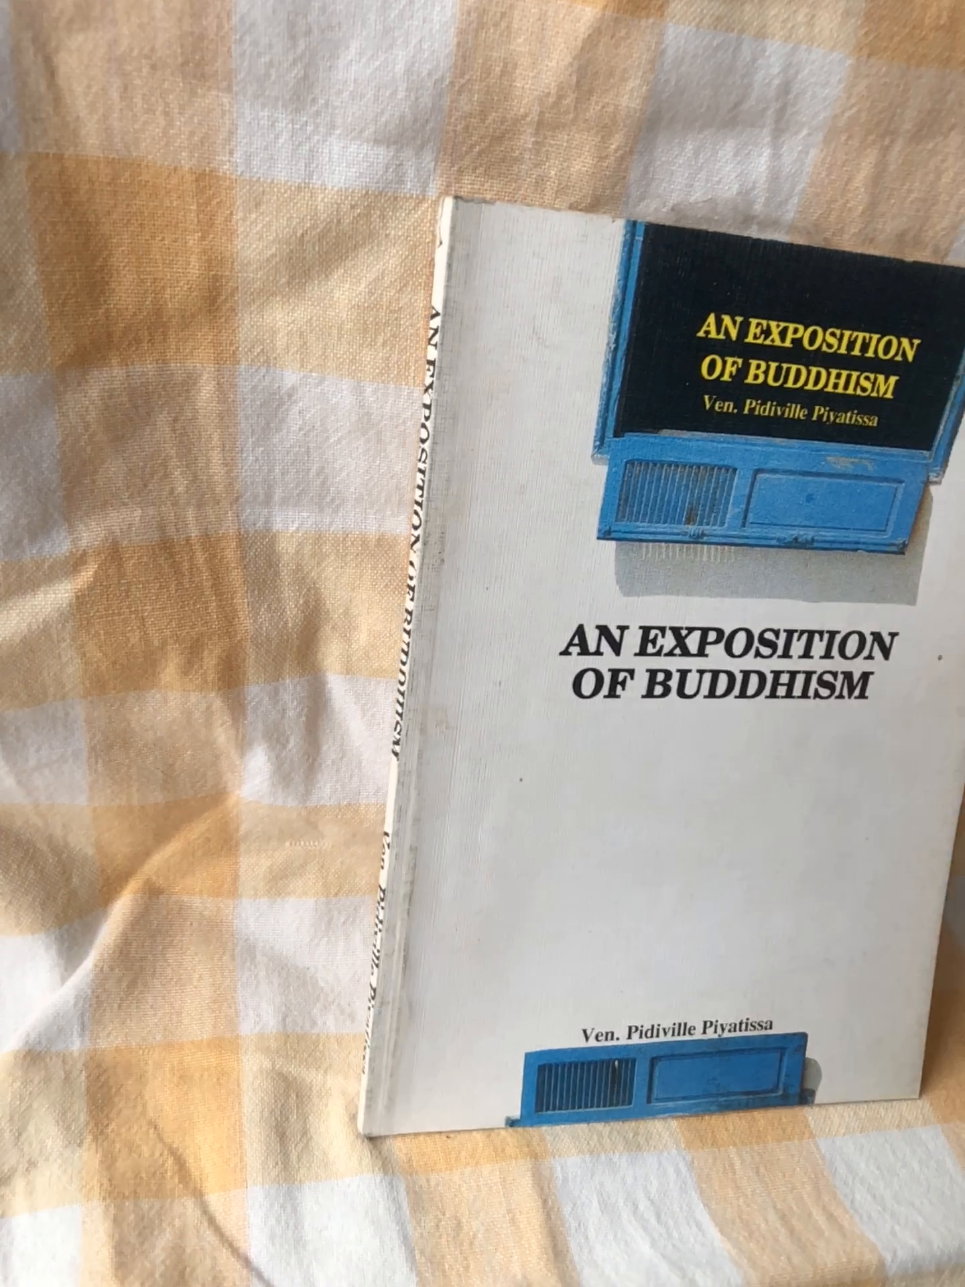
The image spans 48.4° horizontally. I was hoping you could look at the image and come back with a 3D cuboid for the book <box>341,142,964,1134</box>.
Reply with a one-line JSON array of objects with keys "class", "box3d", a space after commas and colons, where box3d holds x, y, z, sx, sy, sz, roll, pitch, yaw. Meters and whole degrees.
[{"class": "book", "box3d": [0.047, 0.012, 0.229, 0.140, 0.199, 0.020, 2, 19, -13]}]
